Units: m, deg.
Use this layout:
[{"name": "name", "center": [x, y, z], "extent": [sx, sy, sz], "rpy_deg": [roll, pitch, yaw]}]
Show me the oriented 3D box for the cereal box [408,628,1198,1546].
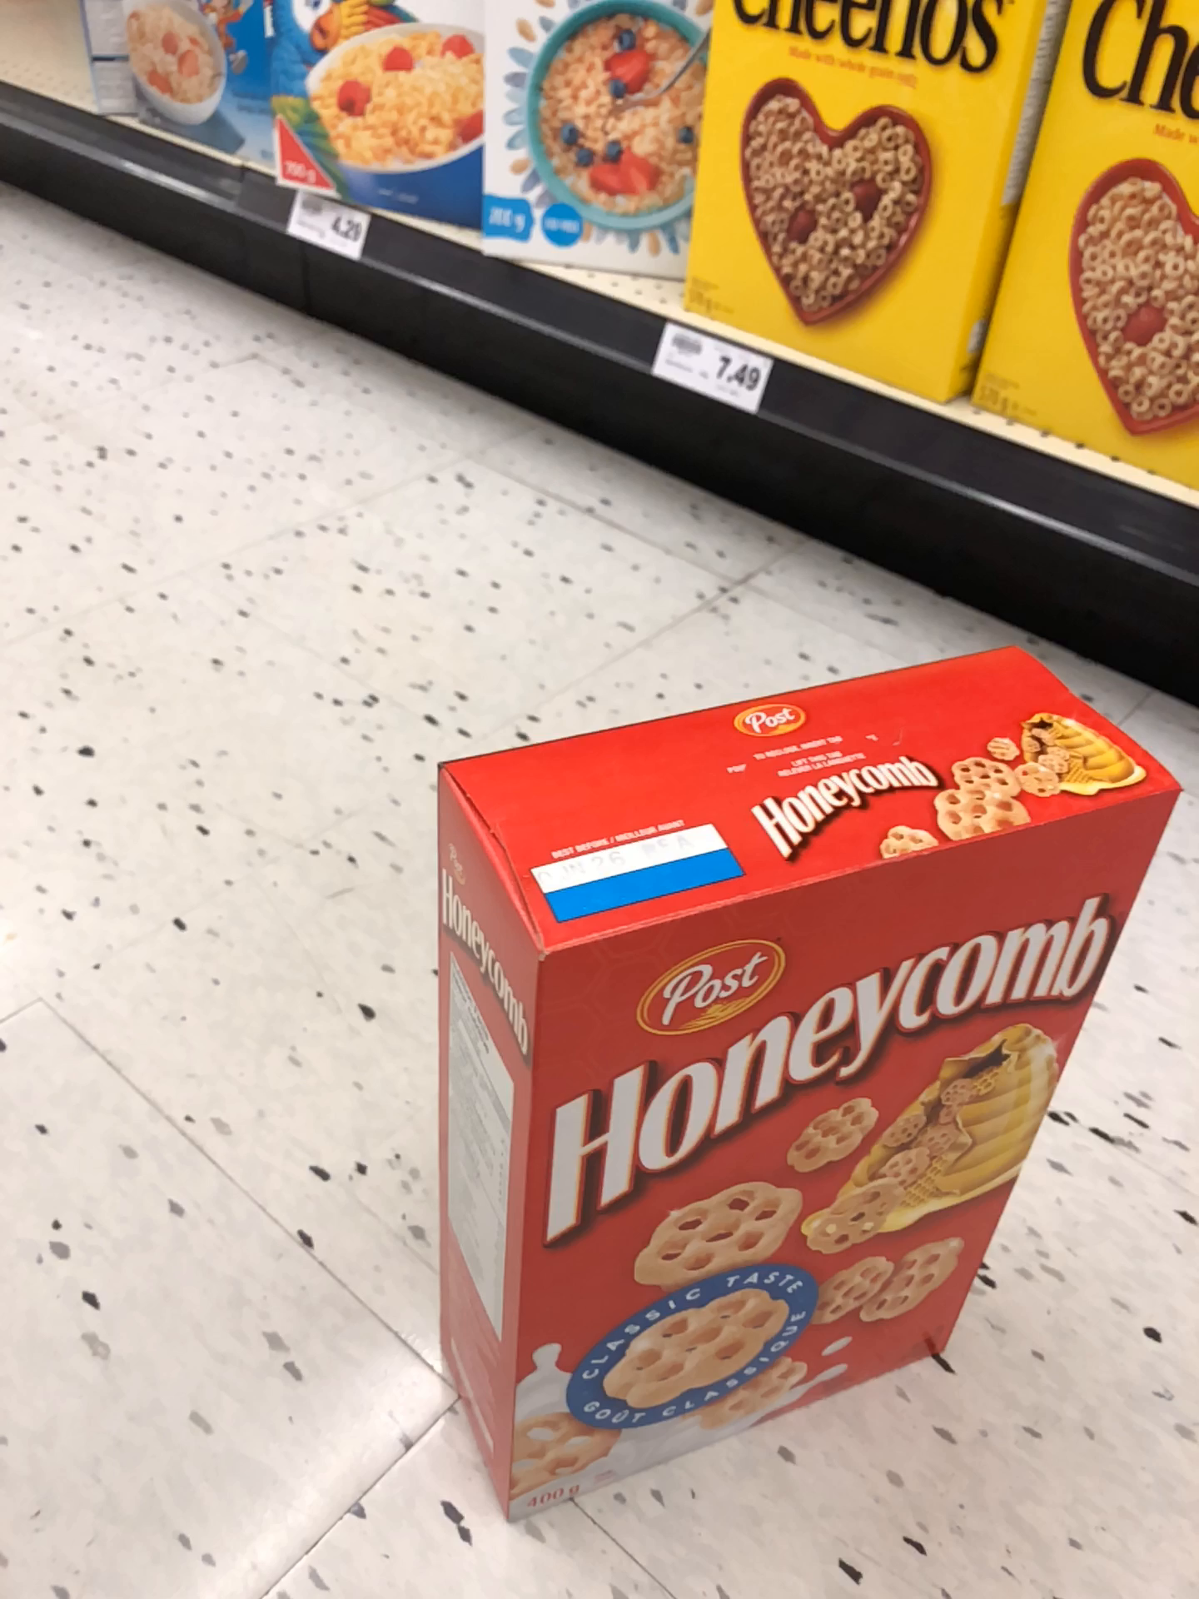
[{"name": "cereal box", "center": [0.048, 0.106, 0.439], "extent": [0.200, 0.298, 0.080], "rpy_deg": [-11, 42, -20]}]
